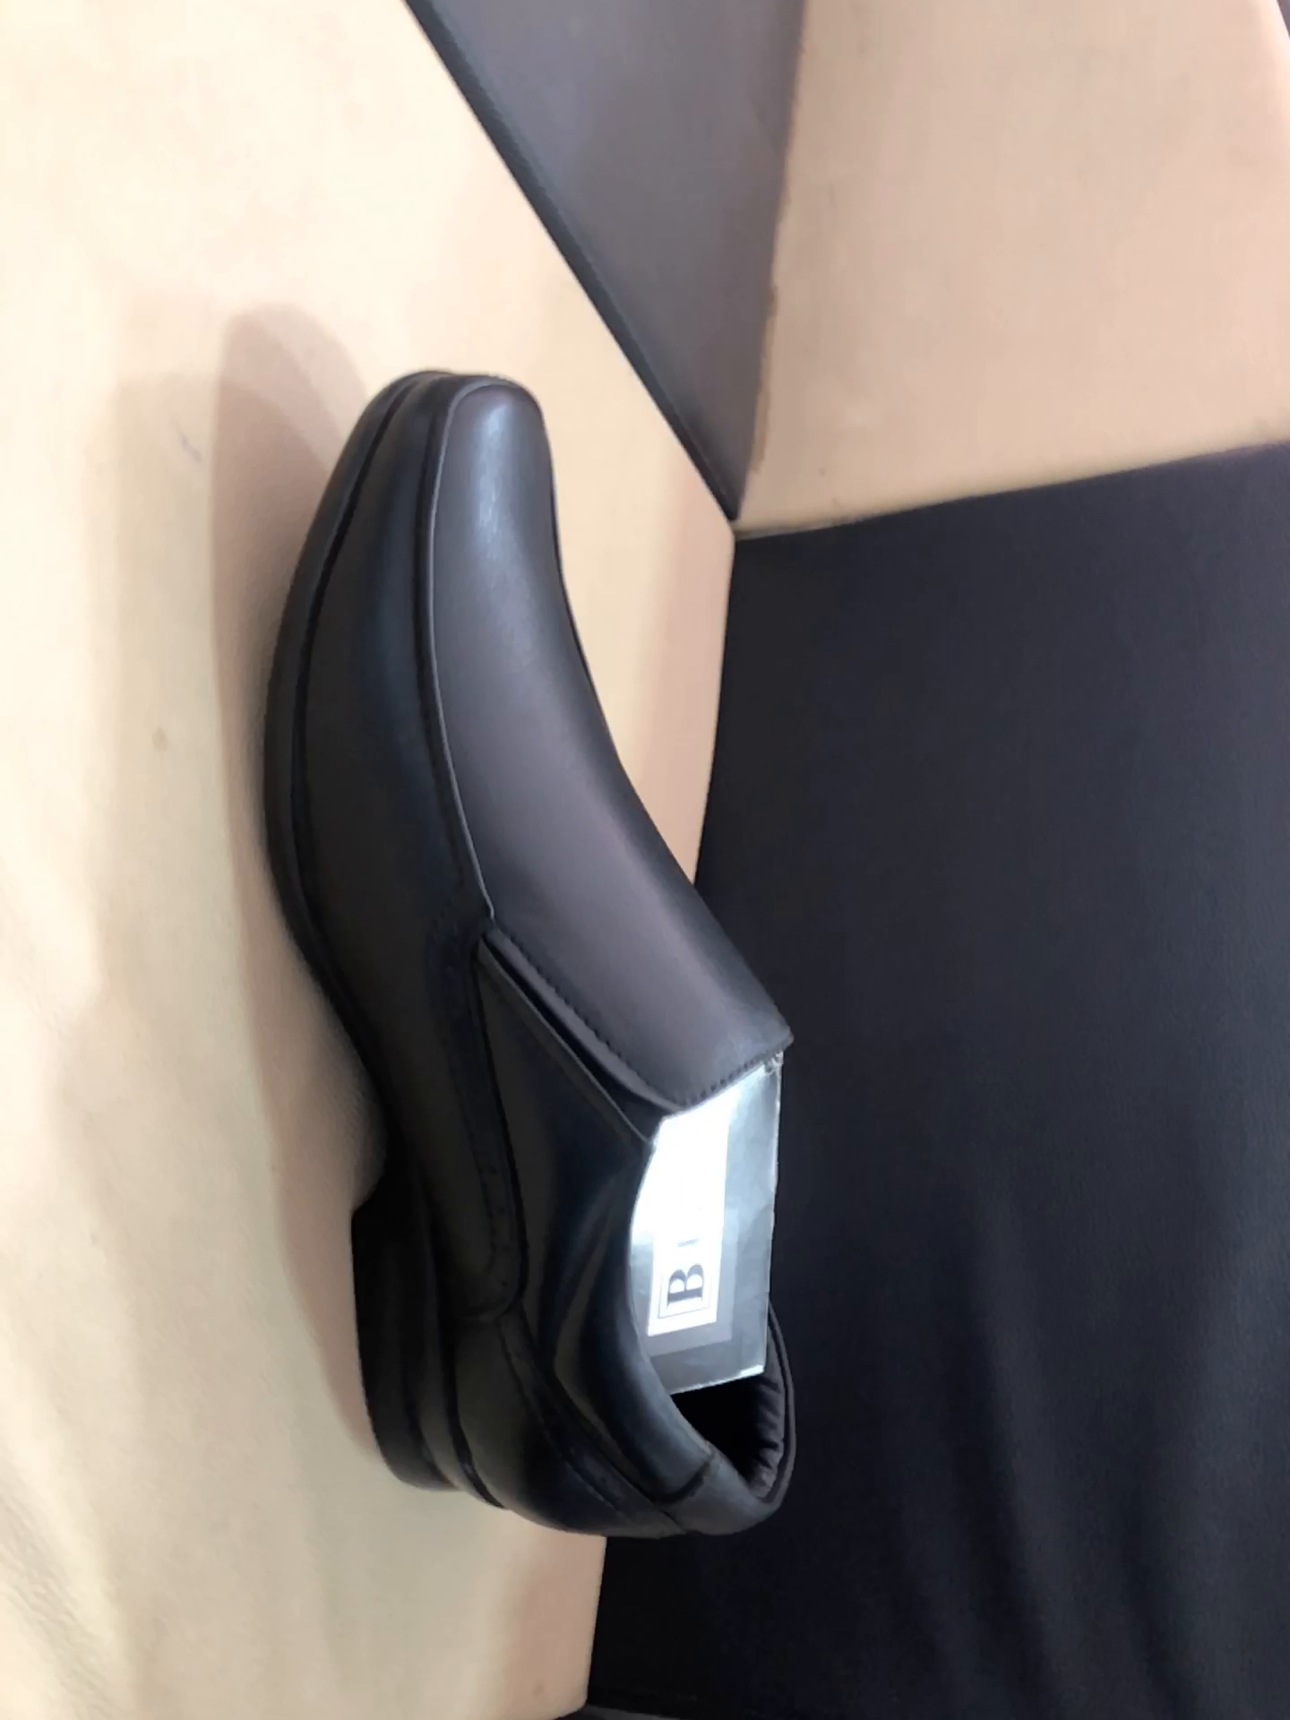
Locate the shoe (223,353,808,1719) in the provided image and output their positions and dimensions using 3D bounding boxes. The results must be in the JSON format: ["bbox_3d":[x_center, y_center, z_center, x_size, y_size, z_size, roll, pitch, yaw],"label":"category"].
[{"bbox_3d":[-0.021,0.037,0.349,0.111,0.069,0.280,-18,105,-64],"label":"shoe"}]
